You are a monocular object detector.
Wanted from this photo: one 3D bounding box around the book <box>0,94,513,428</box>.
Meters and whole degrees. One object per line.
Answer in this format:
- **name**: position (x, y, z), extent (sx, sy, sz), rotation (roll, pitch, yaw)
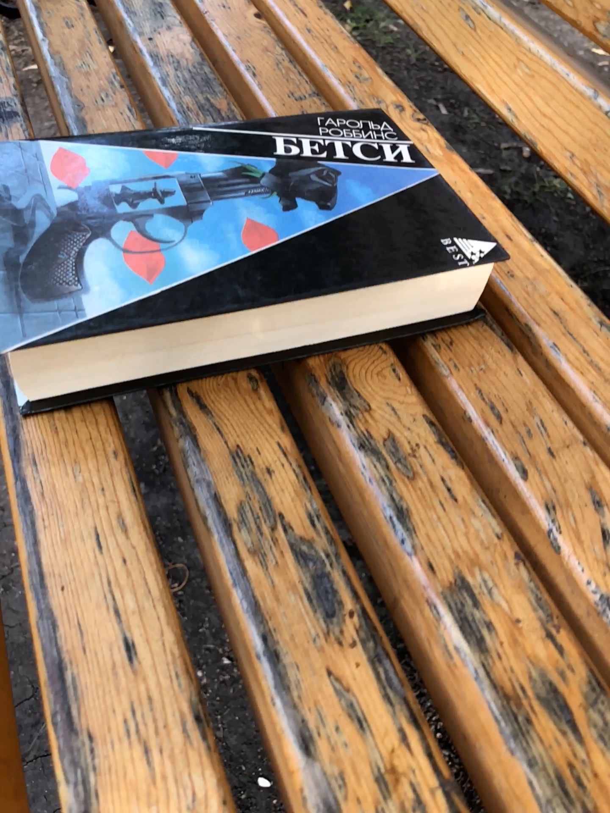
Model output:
- **book**: position (-0.036, -0.078, 0.305), extent (0.210, 0.045, 0.130), rotation (-13, 55, -19)
